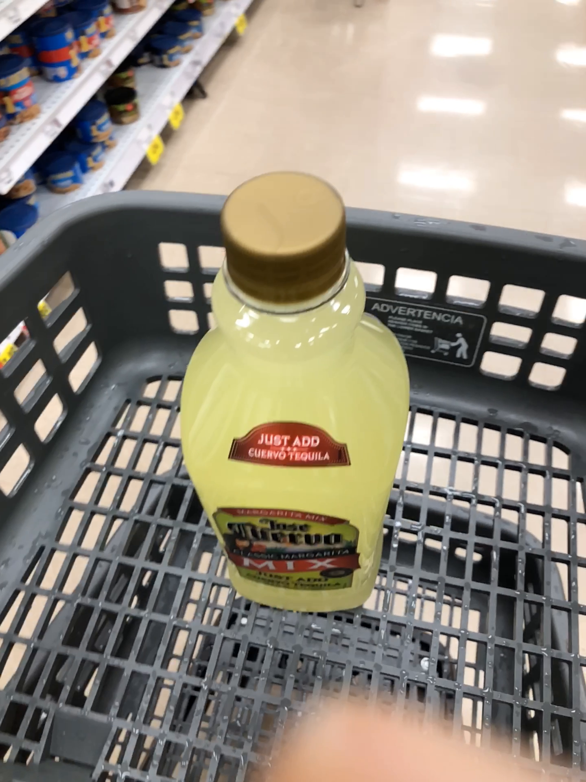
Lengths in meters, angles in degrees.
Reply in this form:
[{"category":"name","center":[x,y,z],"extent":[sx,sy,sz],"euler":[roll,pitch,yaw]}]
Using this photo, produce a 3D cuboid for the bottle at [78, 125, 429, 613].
[{"category":"bottle","center":[-0.006,0.018,0.335],"extent":[0.110,0.279,0.080],"euler":[4,51,5]}]
